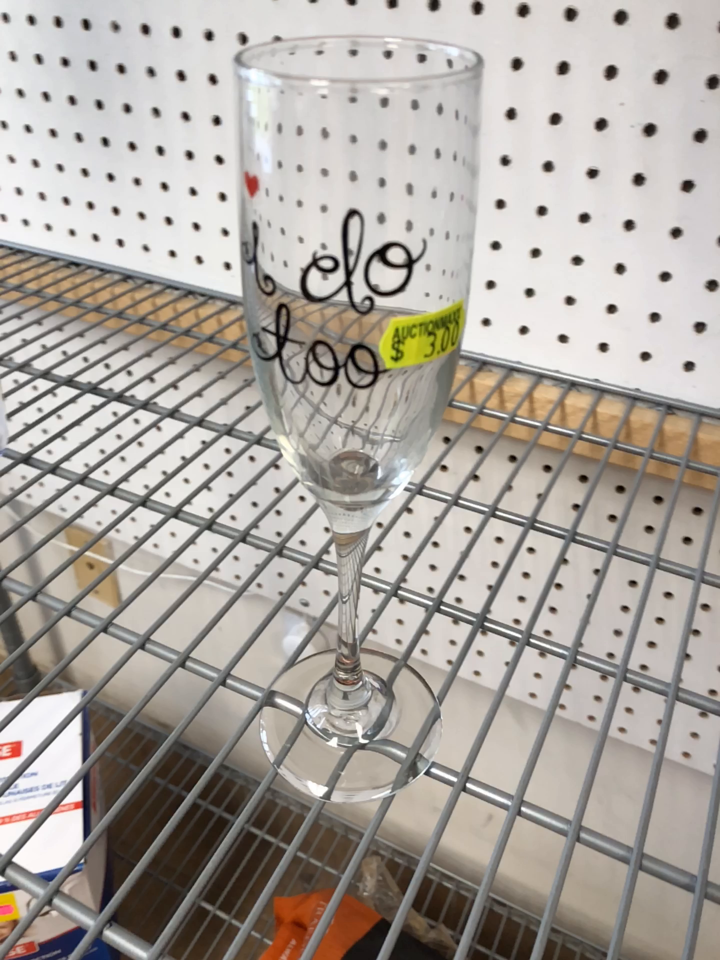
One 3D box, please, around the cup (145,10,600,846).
[{"bbox_3d":[0.005,-0.001,0.217,0.070,0.209,0.070,1,36,-1],"label":"cup"}]
